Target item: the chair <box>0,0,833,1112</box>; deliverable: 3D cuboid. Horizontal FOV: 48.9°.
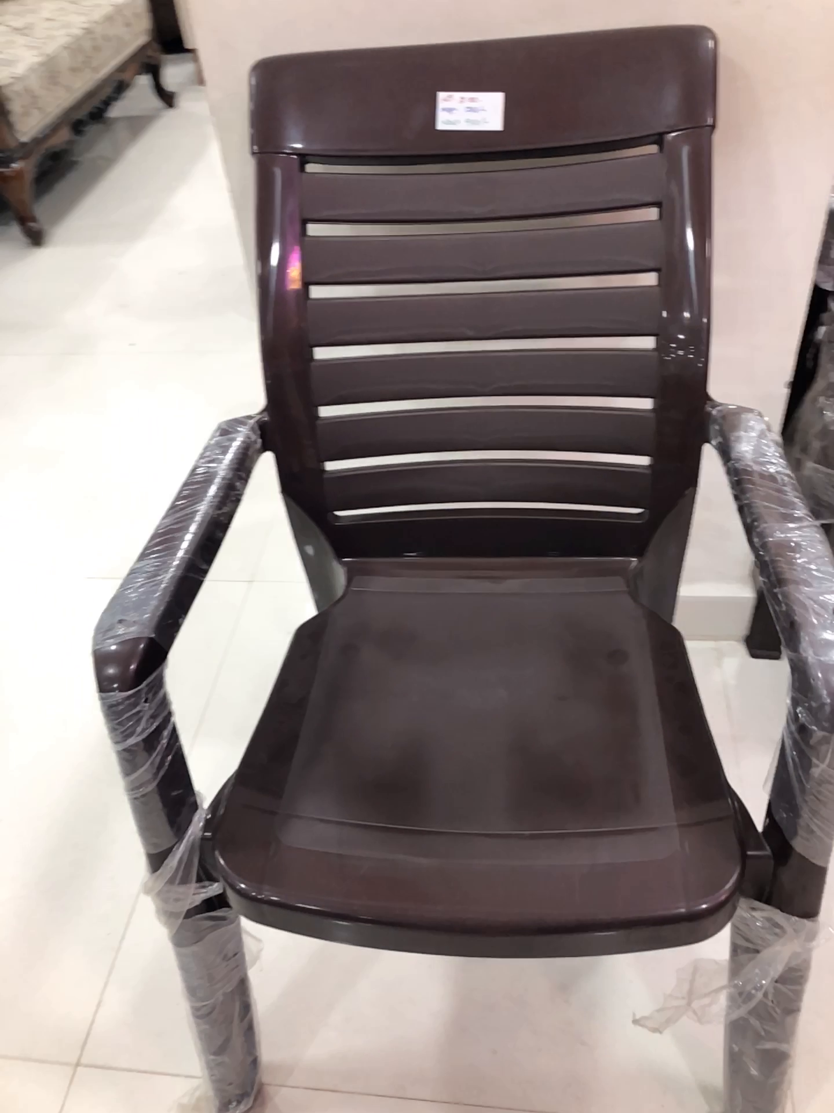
[{"bbox_3d":[0.084,0.026,0.928,0.640,1.004,0.674,0,41,7],"label":"chair"}]
